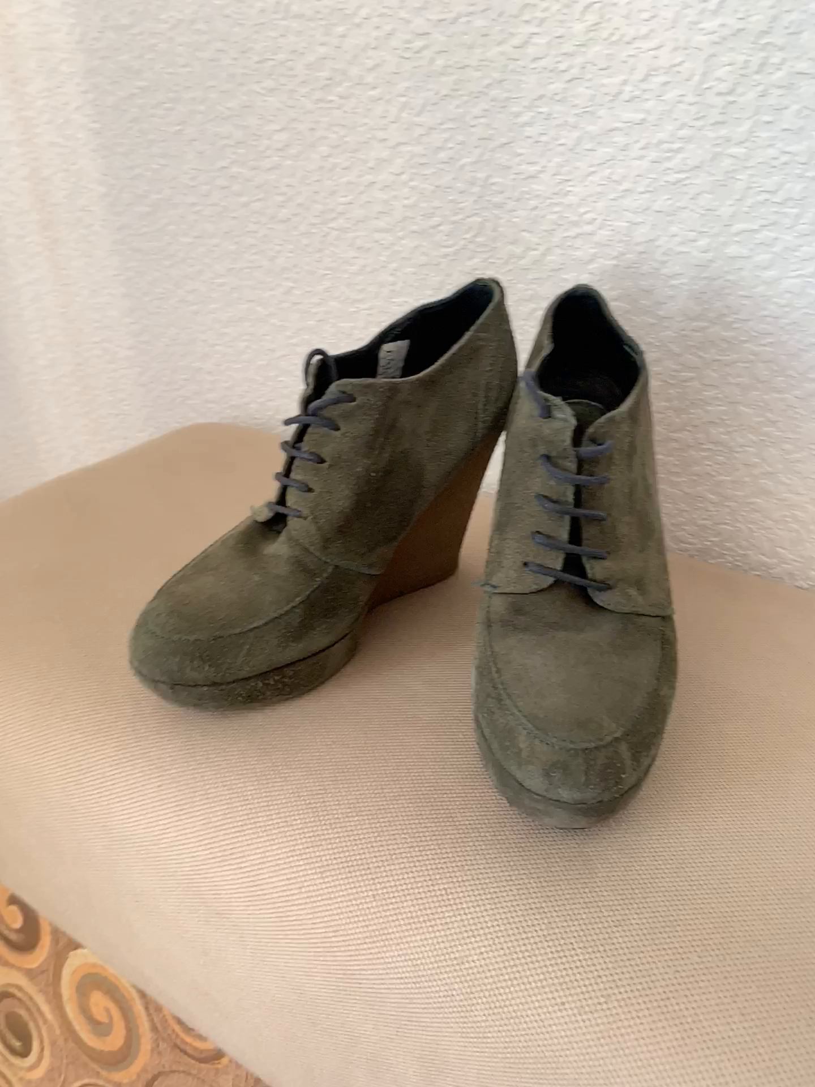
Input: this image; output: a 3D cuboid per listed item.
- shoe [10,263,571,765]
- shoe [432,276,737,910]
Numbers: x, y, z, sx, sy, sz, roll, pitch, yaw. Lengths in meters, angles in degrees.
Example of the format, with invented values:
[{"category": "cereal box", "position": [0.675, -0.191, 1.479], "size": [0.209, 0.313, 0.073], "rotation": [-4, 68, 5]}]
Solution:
[{"category": "shoe", "position": [-0.036, -0.030, 0.391], "size": [0.230, 0.136, 0.087], "rotation": [-28, 42, -34]}, {"category": "shoe", "position": [0.076, -0.008, 0.373], "size": [0.080, 0.139, 0.271], "rotation": [6, 34, 11]}]
